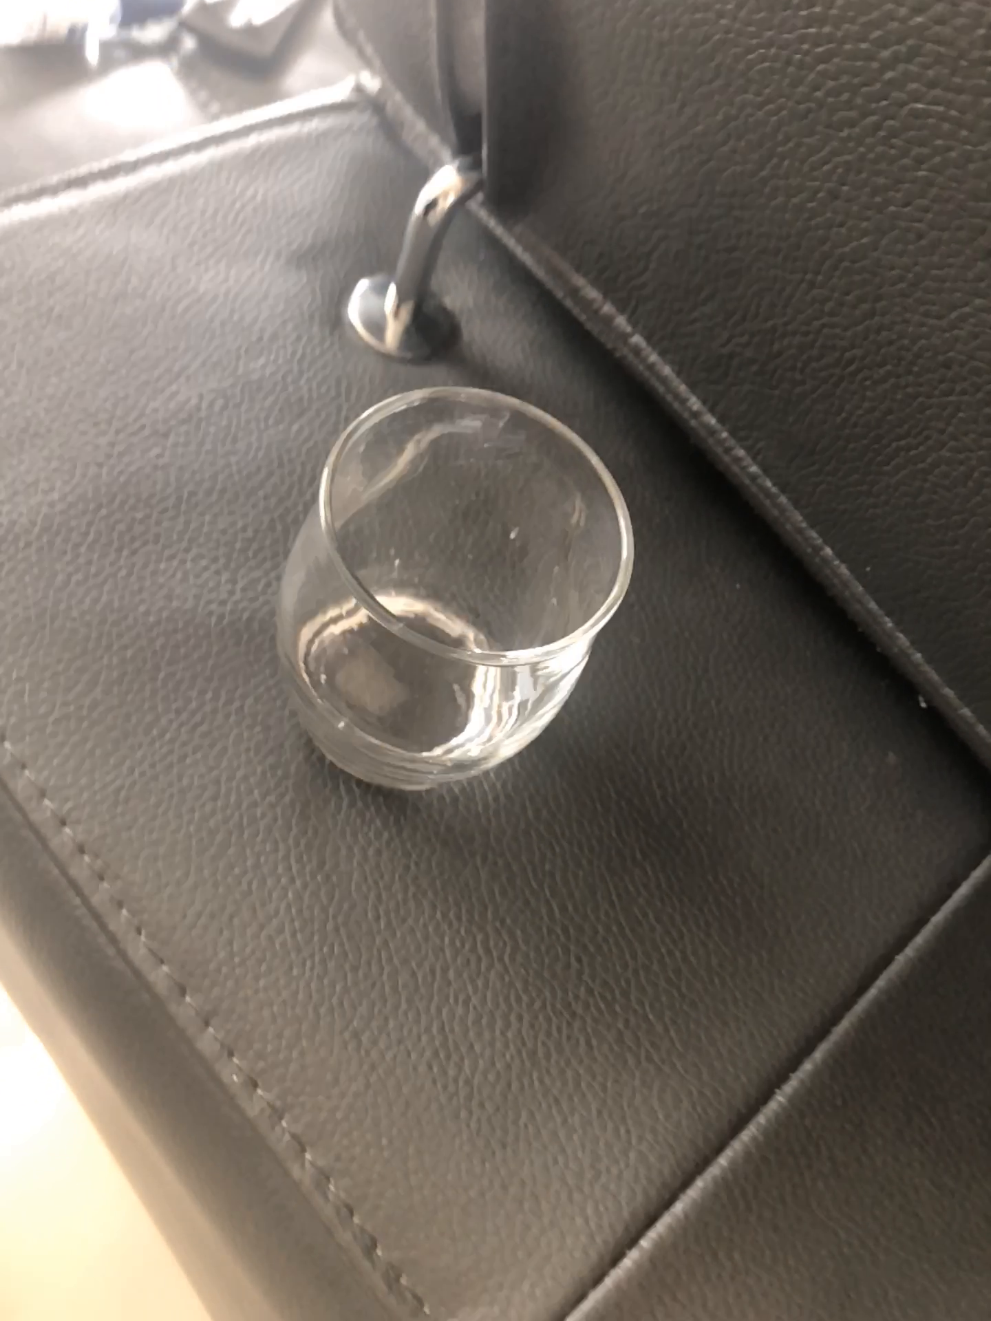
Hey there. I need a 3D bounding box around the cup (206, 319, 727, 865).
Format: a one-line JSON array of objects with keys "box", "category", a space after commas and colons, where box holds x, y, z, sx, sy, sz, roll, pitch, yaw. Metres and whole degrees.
[{"box": [-0.015, -0.014, 0.272, 0.080, 0.090, 0.080, 7, 62, -14], "category": "cup"}]
